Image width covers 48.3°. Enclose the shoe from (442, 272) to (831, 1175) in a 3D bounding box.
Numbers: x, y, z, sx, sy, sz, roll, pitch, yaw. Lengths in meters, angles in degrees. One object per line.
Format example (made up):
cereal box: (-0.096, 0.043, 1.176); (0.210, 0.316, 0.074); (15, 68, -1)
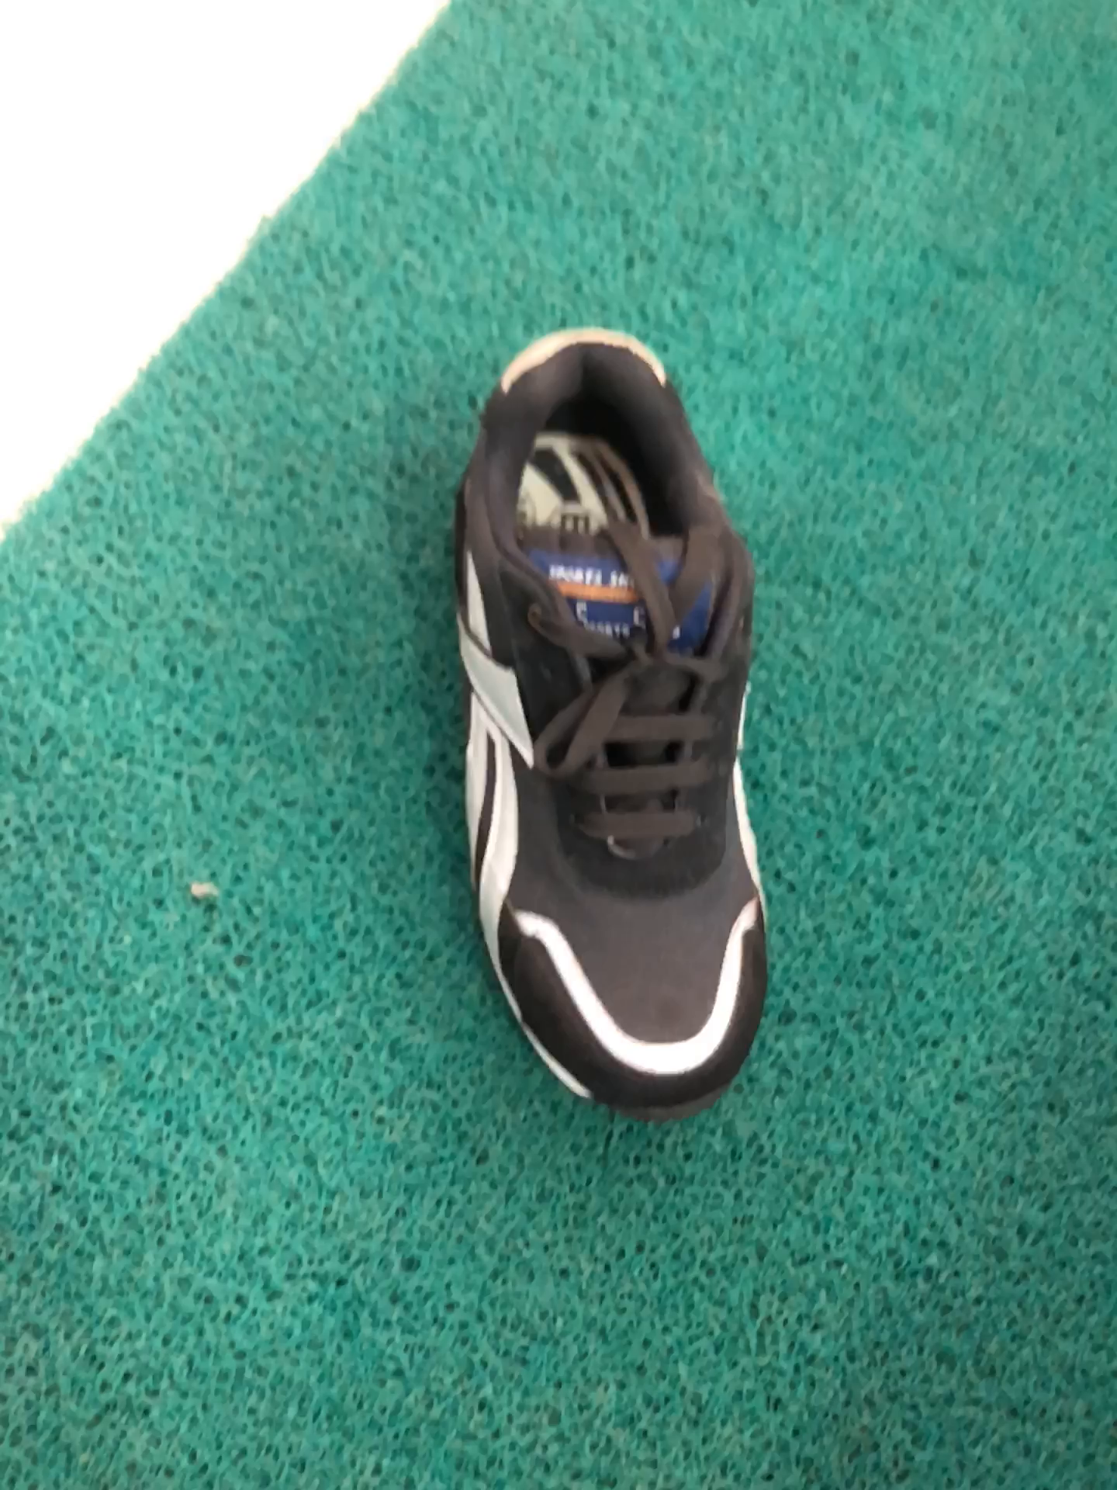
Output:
shoe: (0.015, -0.007, 0.445); (0.100, 0.110, 0.290); (-2, 76, -7)
